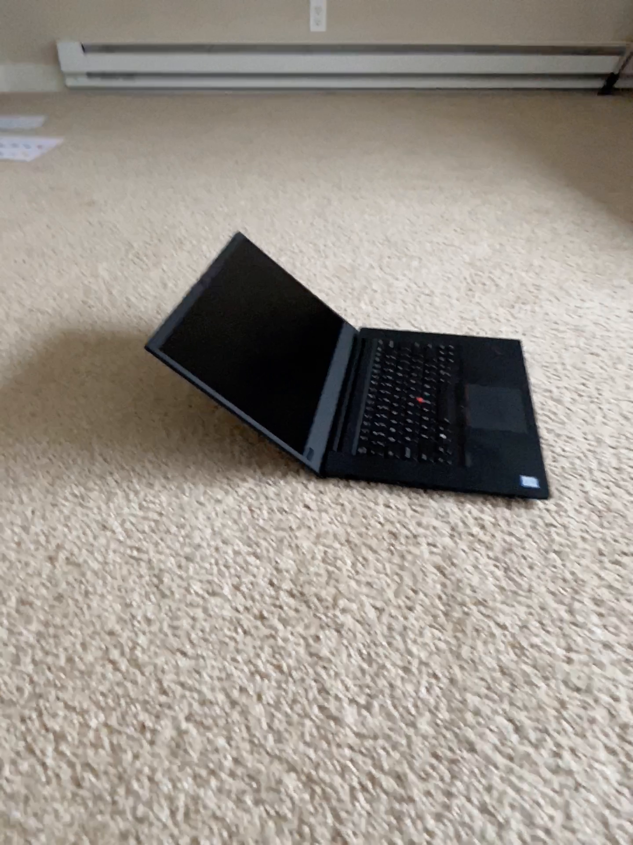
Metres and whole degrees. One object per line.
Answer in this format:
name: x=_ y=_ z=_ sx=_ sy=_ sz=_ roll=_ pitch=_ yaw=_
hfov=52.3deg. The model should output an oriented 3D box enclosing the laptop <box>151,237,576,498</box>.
laptop: x=0.068 y=-0.099 z=0.838 sx=0.432 sy=0.141 sz=0.362 roll=6 pitch=35 yaw=8
